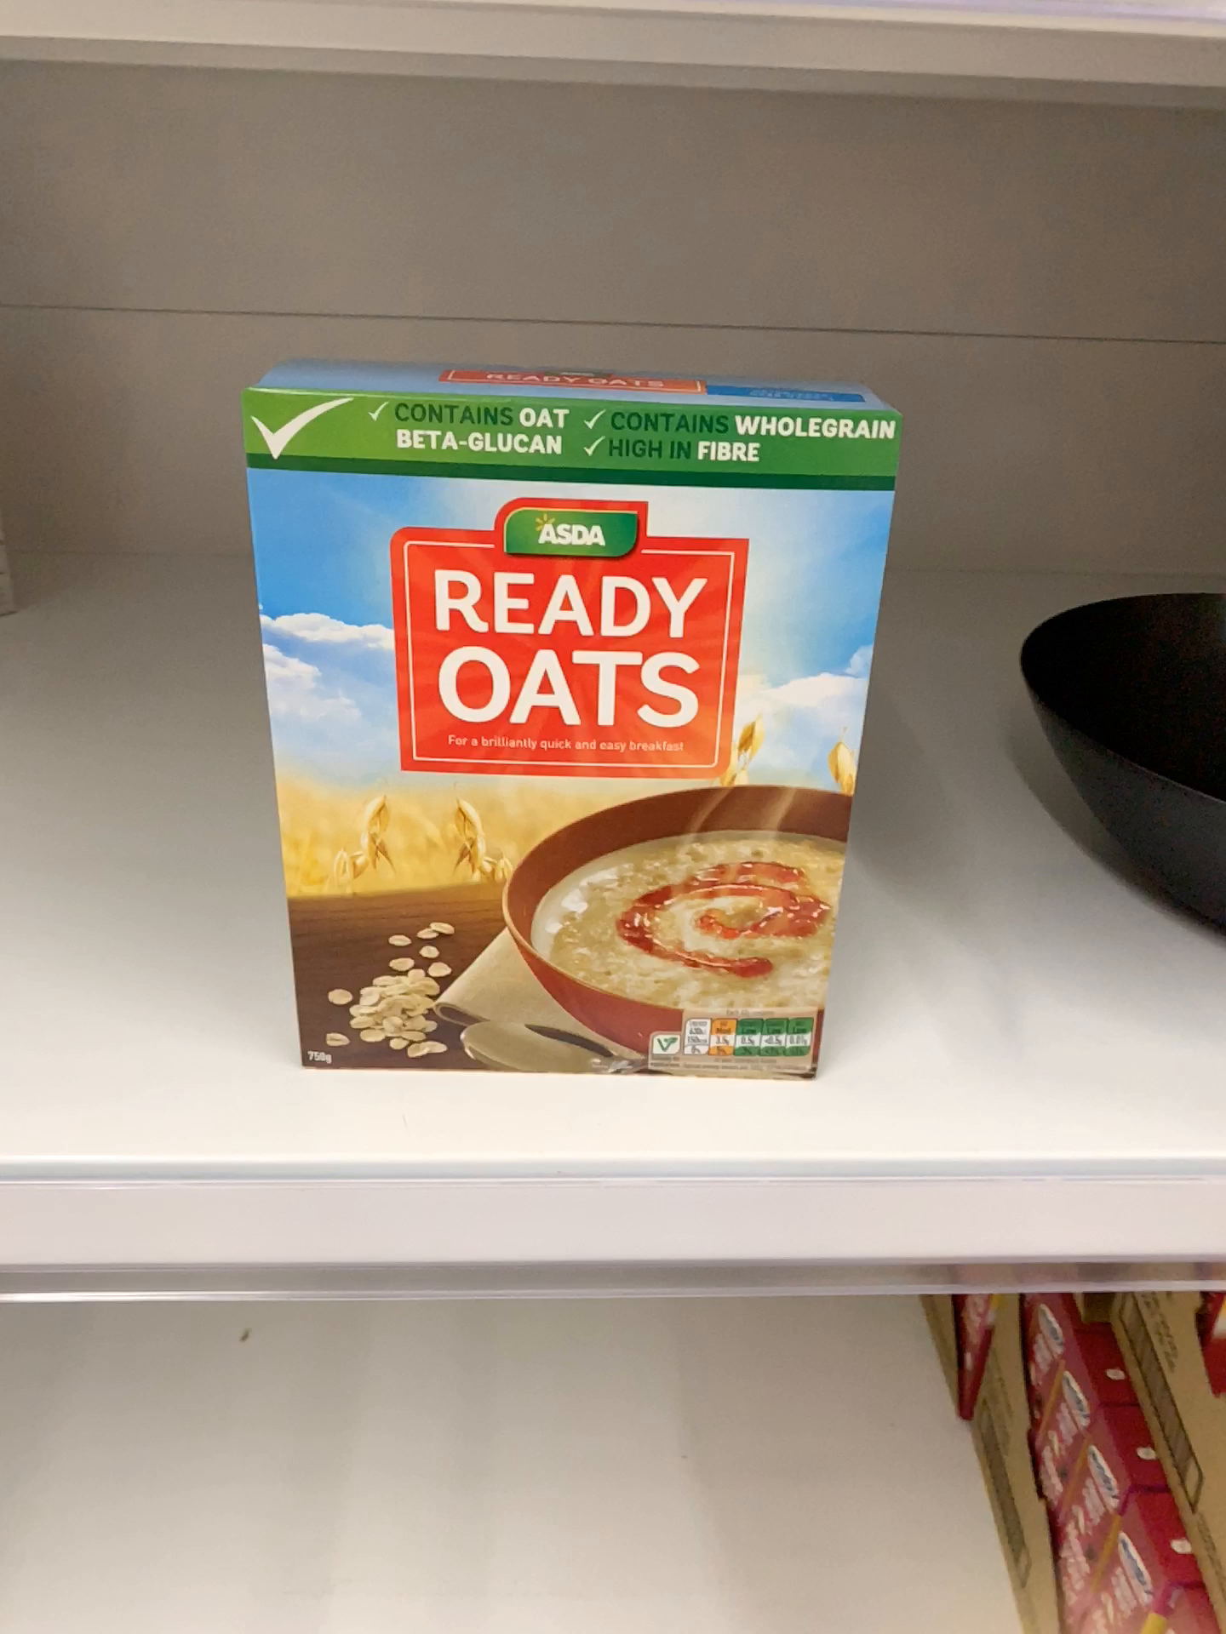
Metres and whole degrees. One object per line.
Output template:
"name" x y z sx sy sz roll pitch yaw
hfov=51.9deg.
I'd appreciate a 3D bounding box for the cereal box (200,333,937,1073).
"cereal box" -0.017 -0.035 0.471 0.220 0.258 0.081 1 27 -2
